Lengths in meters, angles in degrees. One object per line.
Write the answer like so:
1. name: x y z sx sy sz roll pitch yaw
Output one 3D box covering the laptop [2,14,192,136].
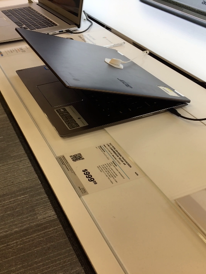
1. laptop: -0.031 -0.147 0.563 0.243 0.099 0.280 -21 47 -16
